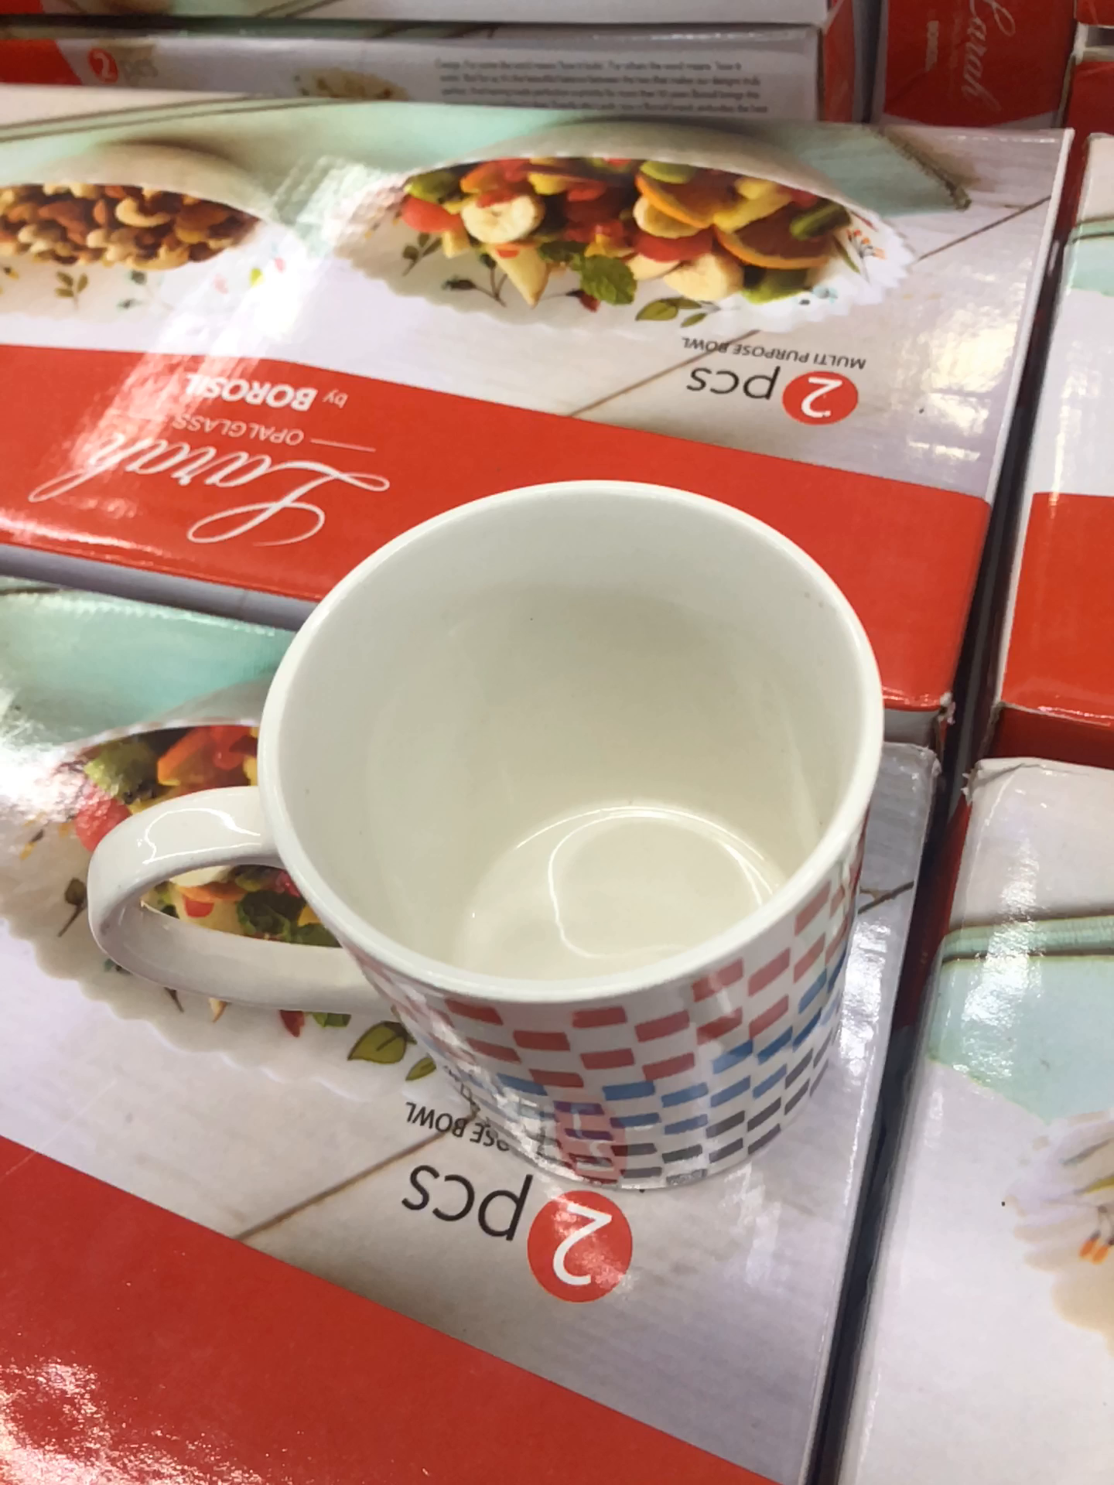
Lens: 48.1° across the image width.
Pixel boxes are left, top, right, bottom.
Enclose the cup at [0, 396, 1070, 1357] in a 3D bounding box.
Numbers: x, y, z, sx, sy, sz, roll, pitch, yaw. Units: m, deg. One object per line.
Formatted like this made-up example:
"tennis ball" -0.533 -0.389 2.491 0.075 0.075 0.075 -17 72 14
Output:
"cup" -0.007 0.024 0.196 0.120 0.090 0.090 -16 55 -2
